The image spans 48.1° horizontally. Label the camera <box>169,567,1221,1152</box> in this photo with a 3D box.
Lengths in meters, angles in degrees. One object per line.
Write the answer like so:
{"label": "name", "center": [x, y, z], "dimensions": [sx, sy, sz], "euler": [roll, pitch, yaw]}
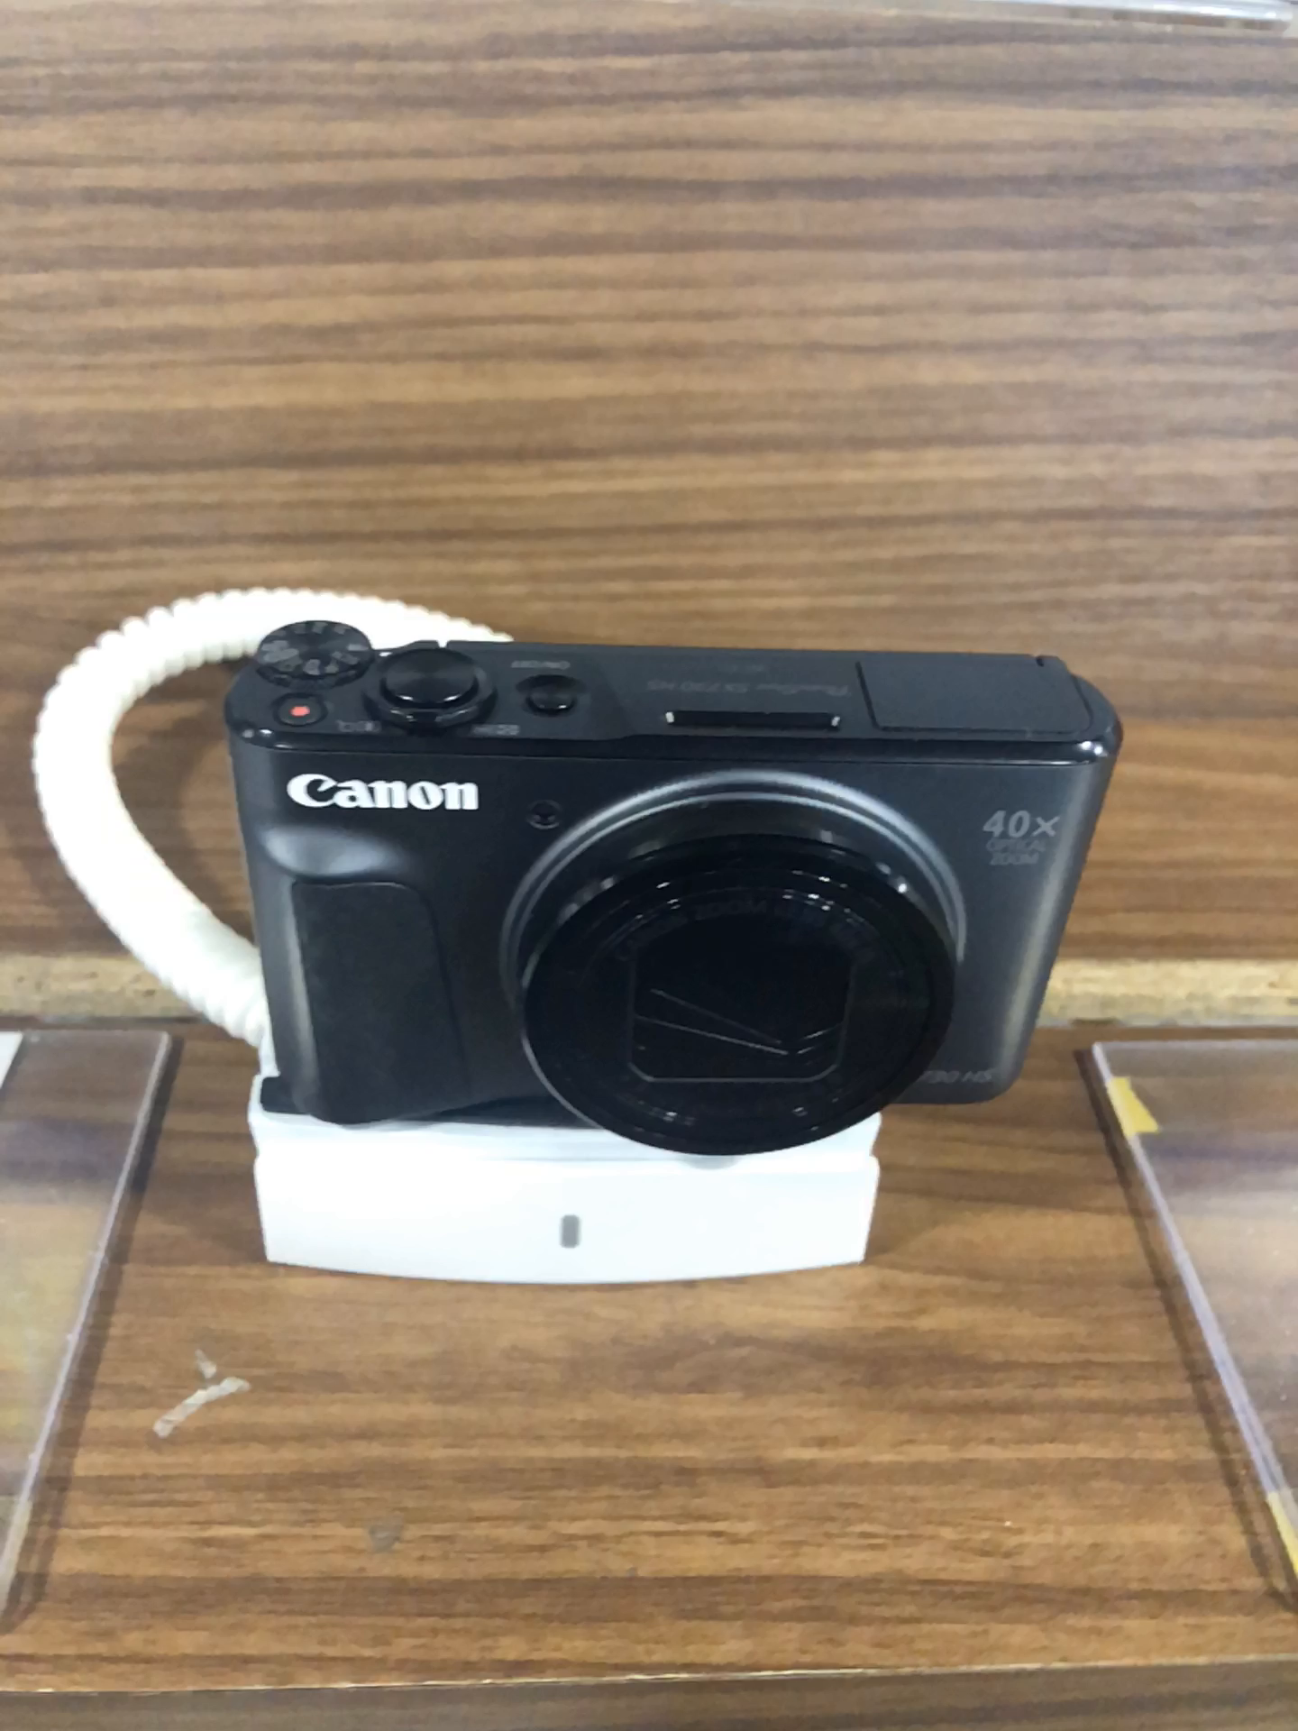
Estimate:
{"label": "camera", "center": [0.003, 0.001, 0.184], "dimensions": [0.109, 0.063, 0.037], "euler": [1, 39, -4]}
